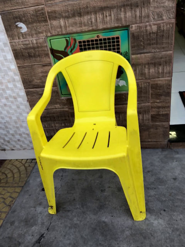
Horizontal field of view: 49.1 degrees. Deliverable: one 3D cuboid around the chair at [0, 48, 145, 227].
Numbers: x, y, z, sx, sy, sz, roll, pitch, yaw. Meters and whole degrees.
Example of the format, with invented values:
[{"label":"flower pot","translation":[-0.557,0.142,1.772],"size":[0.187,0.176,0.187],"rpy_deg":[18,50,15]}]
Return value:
[{"label":"chair","translation":[-0.046,0.060,1.134],"size":[0.640,0.745,0.544],"rpy_deg":[-1,31,15]}]
